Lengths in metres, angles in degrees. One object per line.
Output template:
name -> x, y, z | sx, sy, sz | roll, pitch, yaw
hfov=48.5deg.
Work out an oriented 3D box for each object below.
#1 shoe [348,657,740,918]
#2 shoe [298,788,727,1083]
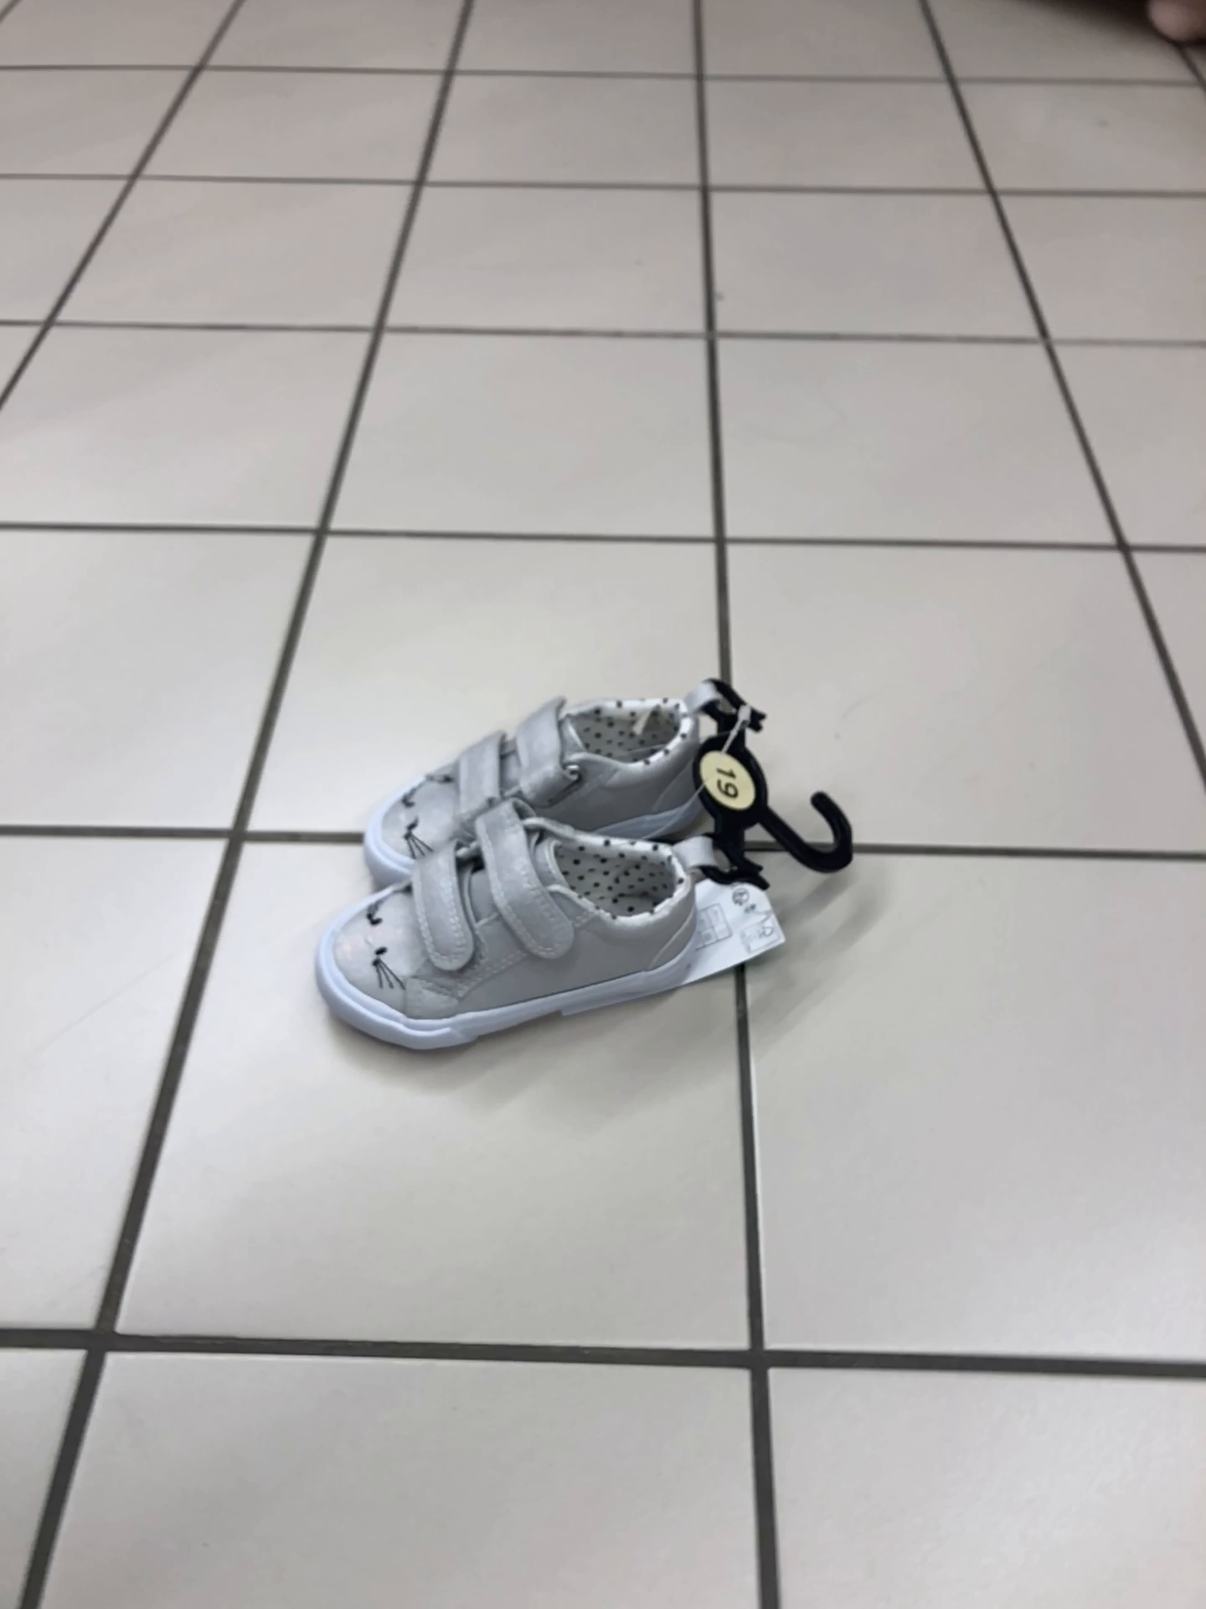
shoe -> -0.023, -0.008, 0.520 | 0.138, 0.053, 0.059 | -10, 49, -9
shoe -> -0.033, 0.045, 0.474 | 0.138, 0.053, 0.064 | -8, 48, -8
